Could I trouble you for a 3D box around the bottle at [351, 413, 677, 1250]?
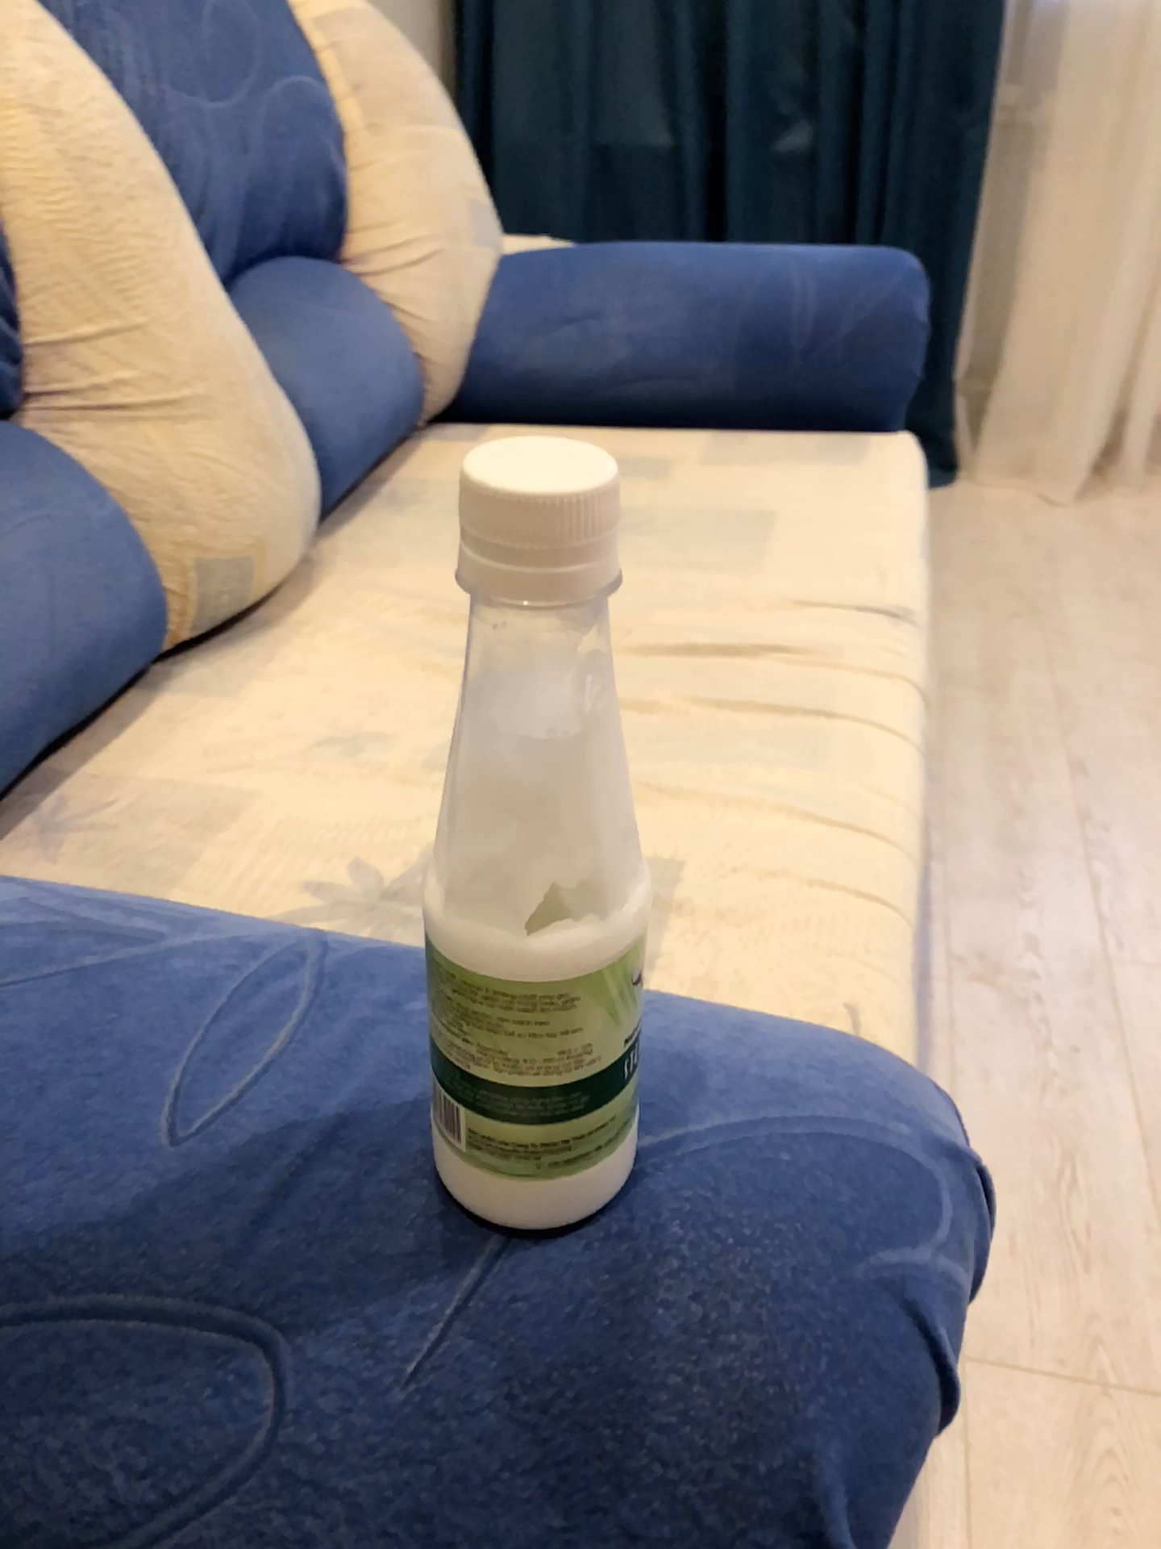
[{"bbox_3d":[-0.011,0.020,0.282,0.054,0.183,0.051,1,31,-1],"label":"bottle"}]
